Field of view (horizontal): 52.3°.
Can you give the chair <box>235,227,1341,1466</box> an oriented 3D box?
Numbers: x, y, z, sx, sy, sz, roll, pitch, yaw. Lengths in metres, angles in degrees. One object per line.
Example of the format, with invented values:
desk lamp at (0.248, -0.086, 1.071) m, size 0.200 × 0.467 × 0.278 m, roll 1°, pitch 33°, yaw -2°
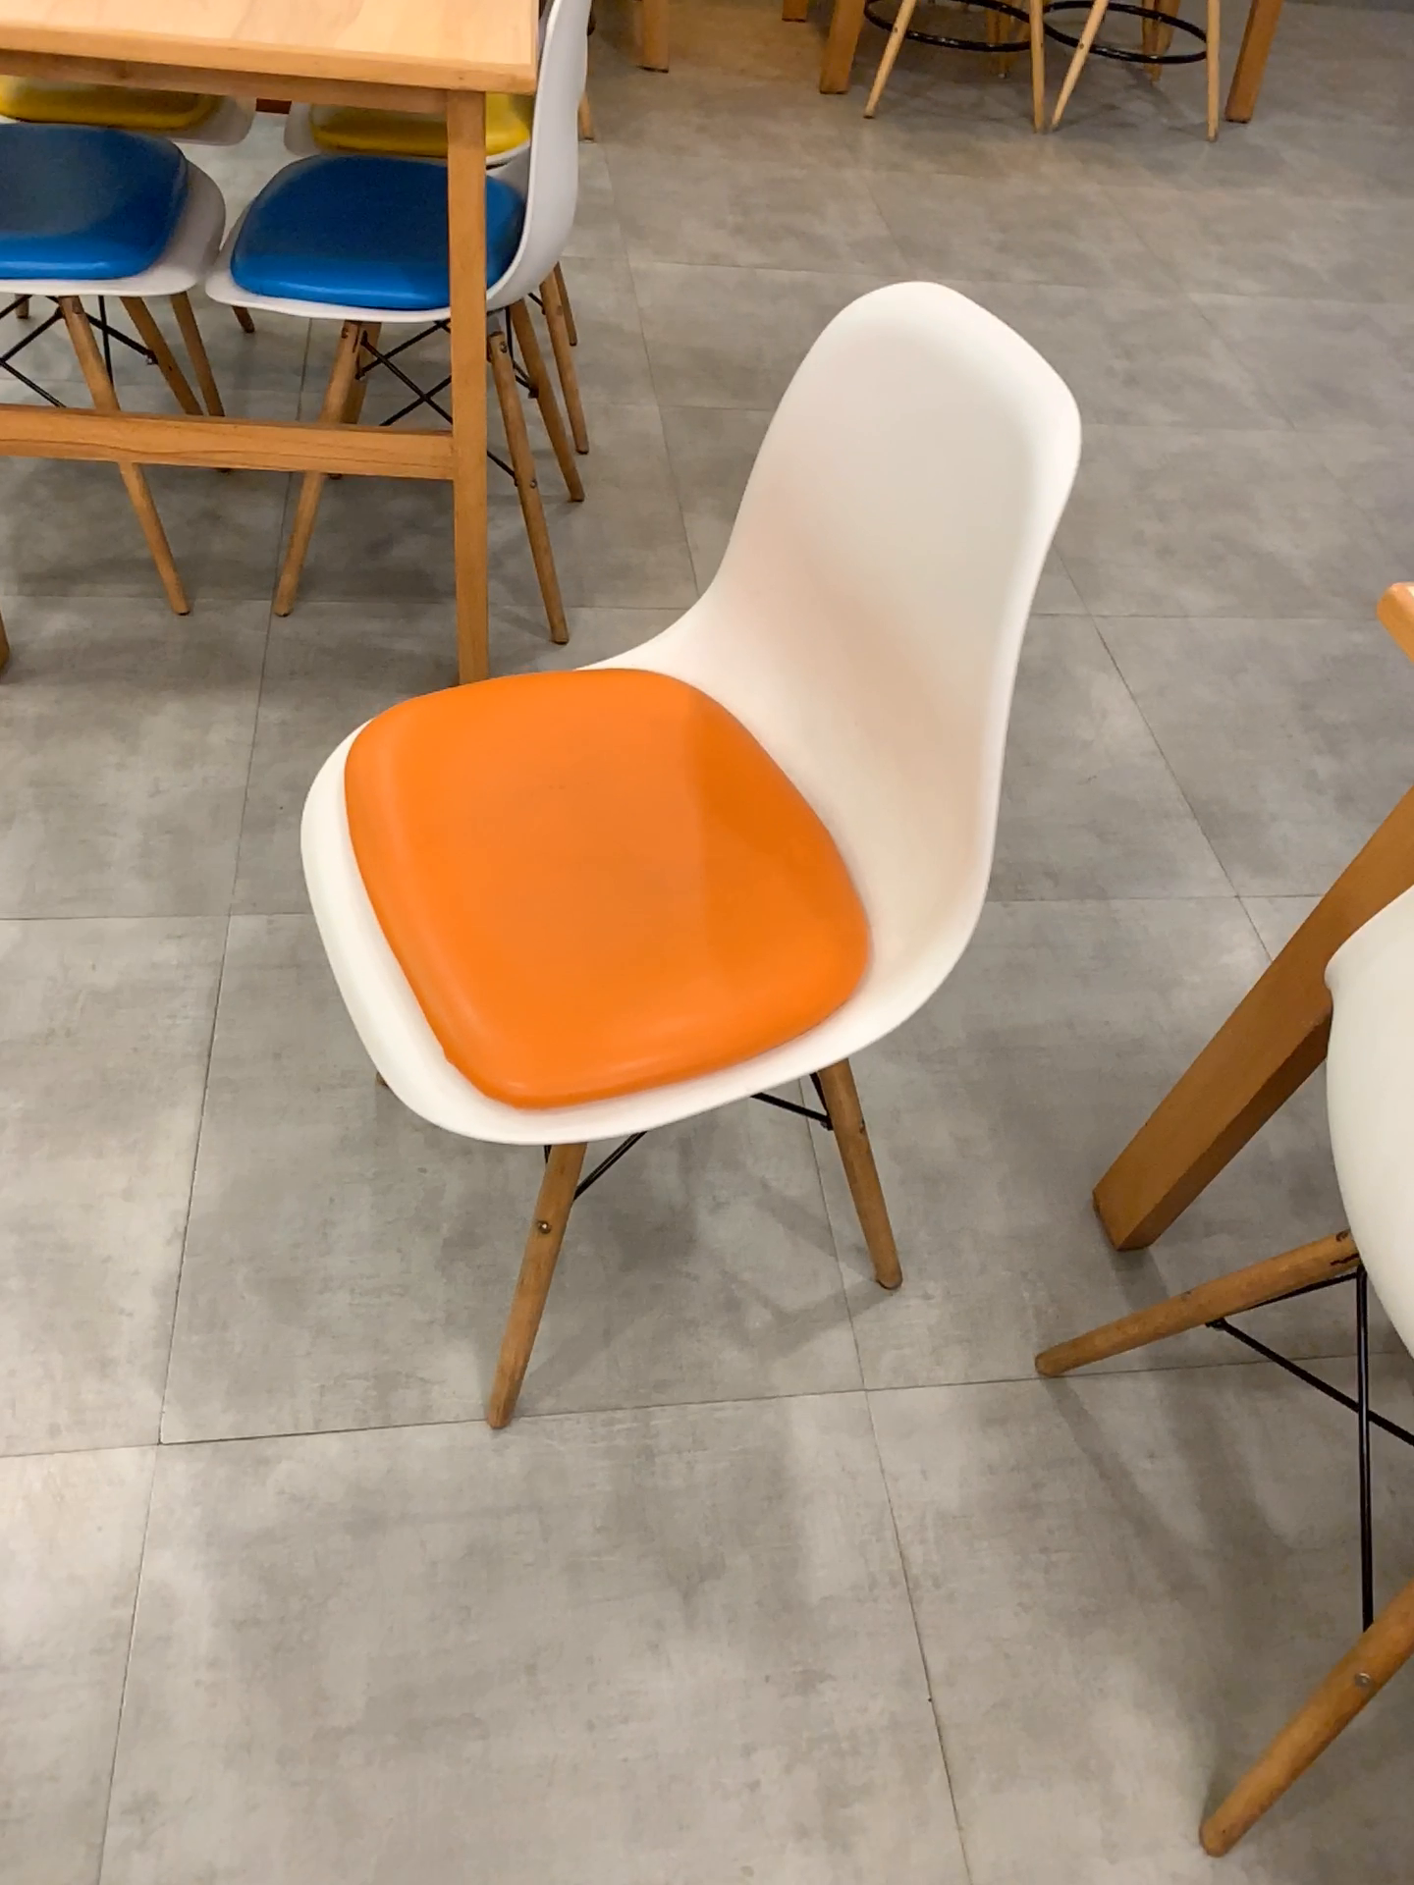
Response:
chair at (-0.021, -0.059, 1.055) m, size 0.481 × 0.704 × 0.473 m, roll -11°, pitch 49°, yaw -18°
